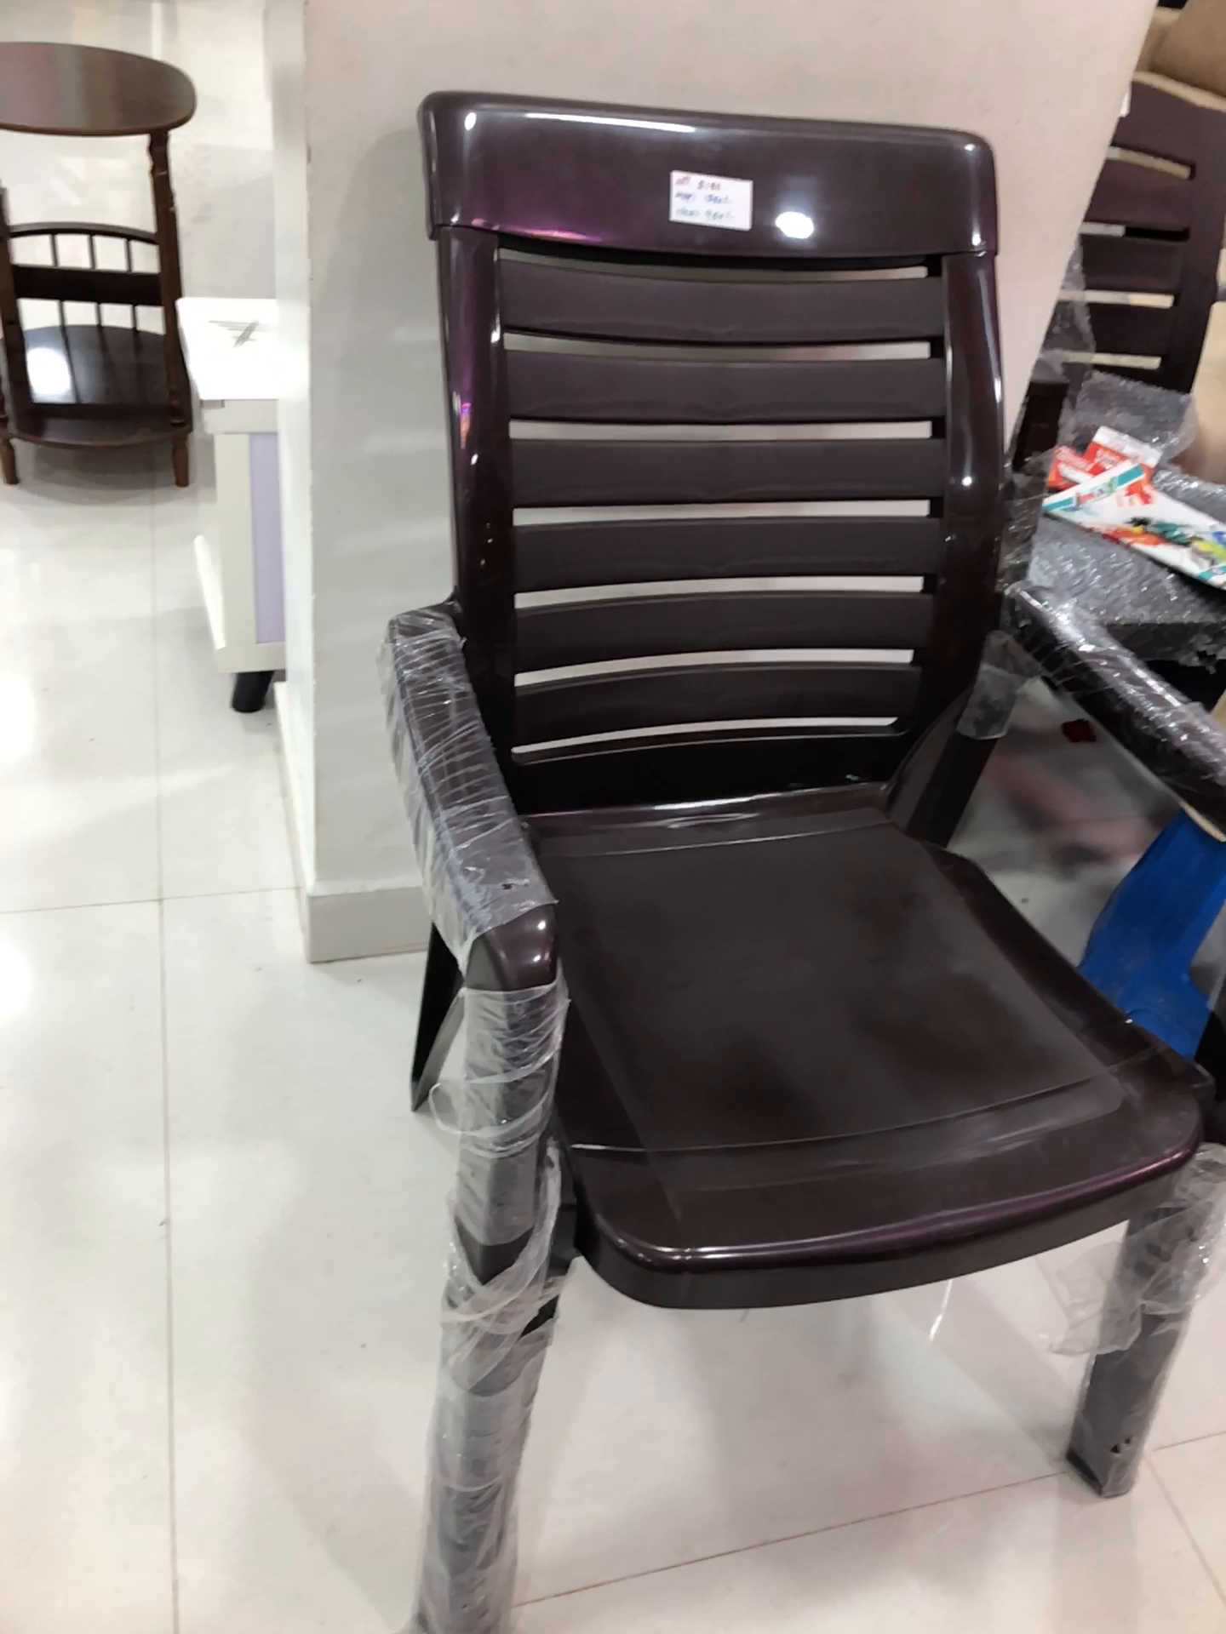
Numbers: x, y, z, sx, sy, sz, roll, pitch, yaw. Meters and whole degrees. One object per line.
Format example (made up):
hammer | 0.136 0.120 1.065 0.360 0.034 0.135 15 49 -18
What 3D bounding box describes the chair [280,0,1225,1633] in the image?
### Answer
chair | 0.119 0.003 1.026 0.642 1.003 0.673 -5 40 -18
